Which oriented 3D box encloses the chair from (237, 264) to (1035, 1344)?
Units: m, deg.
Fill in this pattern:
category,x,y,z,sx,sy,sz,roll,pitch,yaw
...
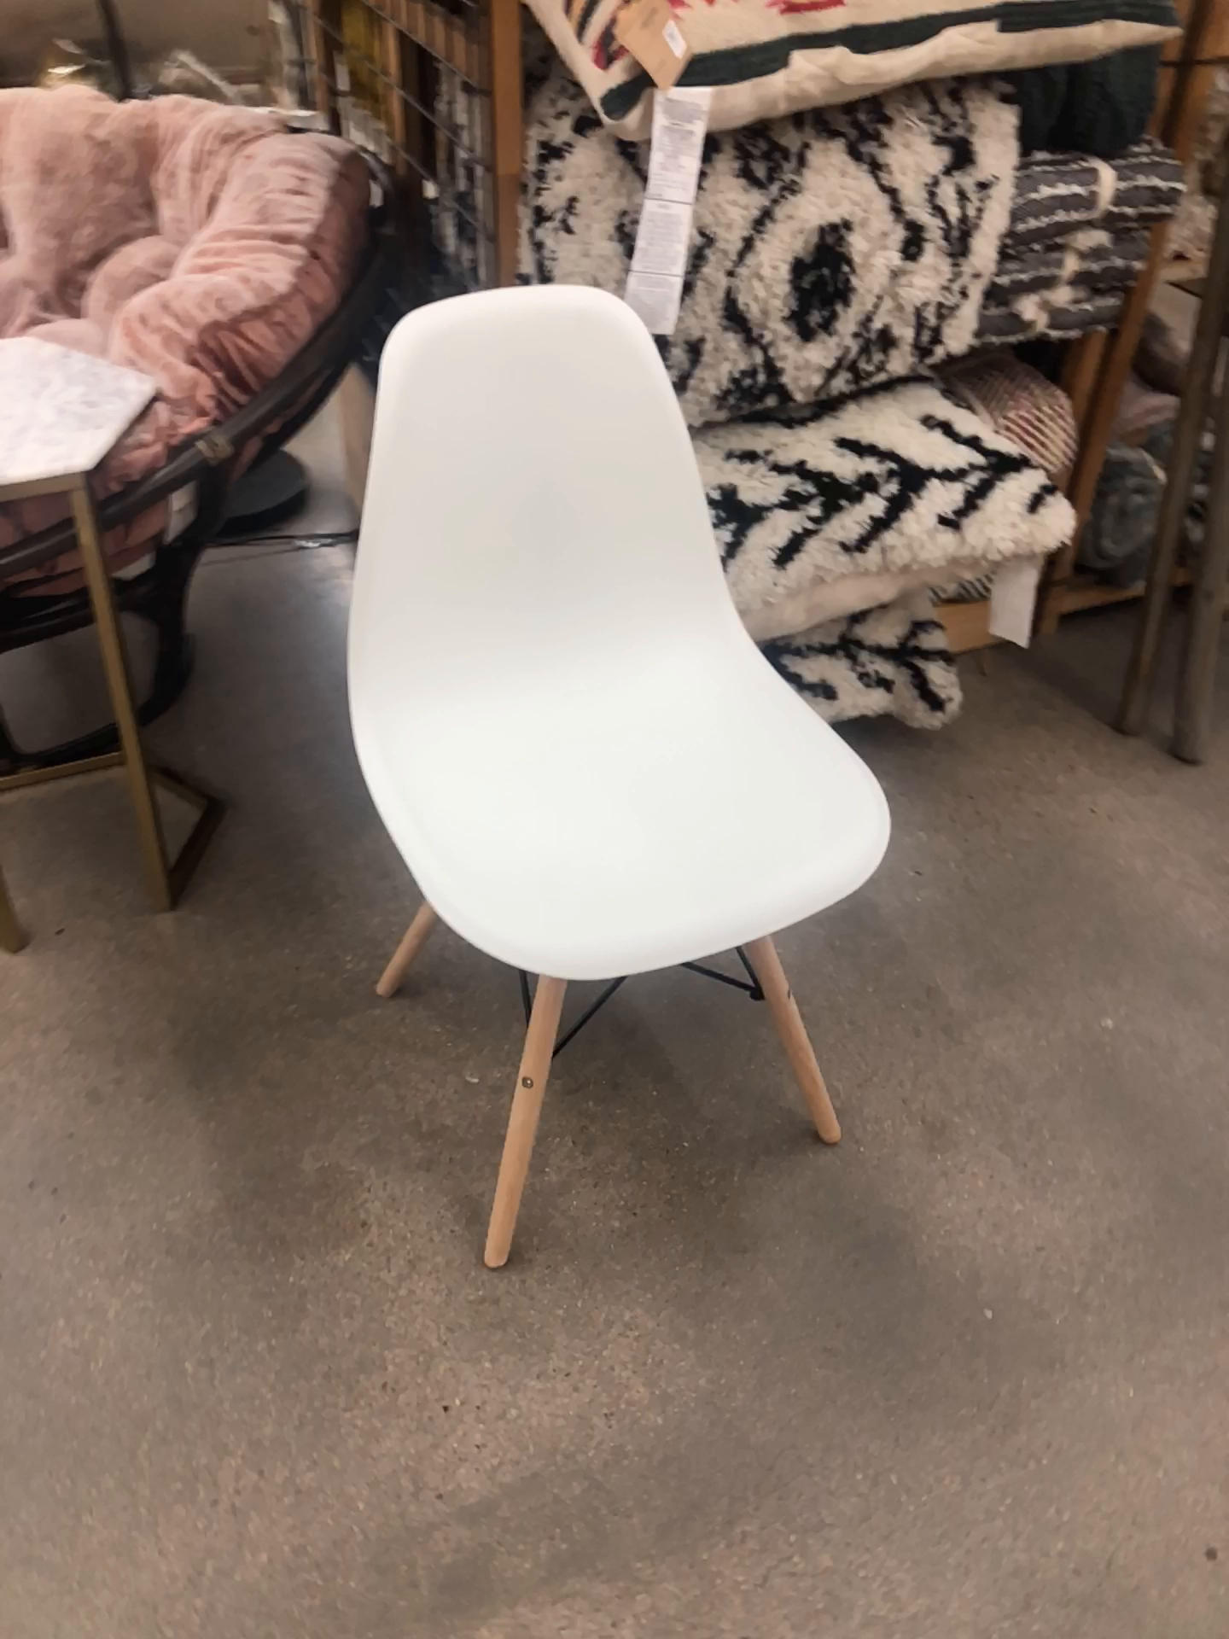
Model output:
category,x,y,z,sx,sy,sz,roll,pitch,yaw
chair,-0.030,-0.015,1.300,0.441,0.806,0.532,-14,42,-19
